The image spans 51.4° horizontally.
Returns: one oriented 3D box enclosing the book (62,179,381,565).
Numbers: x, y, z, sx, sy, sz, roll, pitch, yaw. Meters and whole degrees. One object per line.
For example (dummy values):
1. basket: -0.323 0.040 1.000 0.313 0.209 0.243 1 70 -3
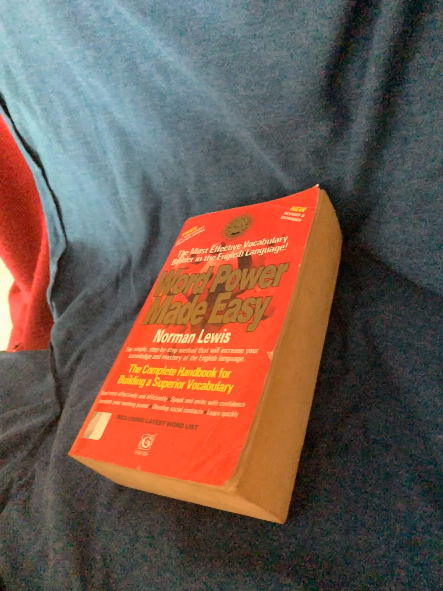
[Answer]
1. book: 0.009 0.026 0.266 0.121 0.050 0.191 -1 53 36
